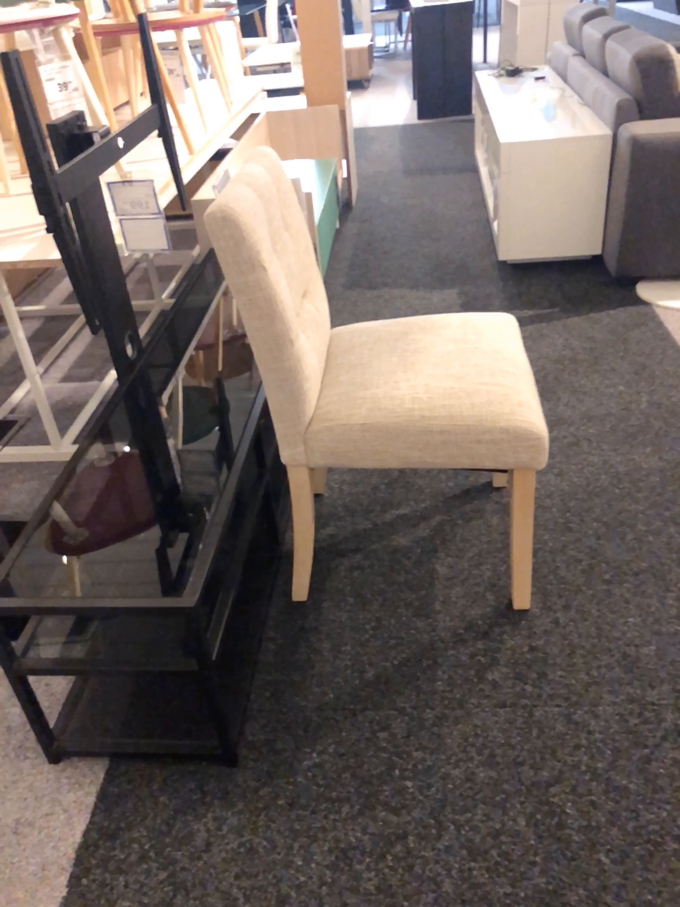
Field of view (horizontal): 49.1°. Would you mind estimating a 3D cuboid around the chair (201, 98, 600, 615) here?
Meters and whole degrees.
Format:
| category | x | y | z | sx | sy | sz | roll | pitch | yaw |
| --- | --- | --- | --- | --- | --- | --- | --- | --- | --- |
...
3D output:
| category | x | y | z | sx | sy | sz | roll | pitch | yaw |
| --- | --- | --- | --- | --- | --- | --- | --- | --- | --- |
| chair | 0.131 | -0.186 | 1.511 | 0.560 | 0.855 | 0.553 | -2 | 33 | 5 |
